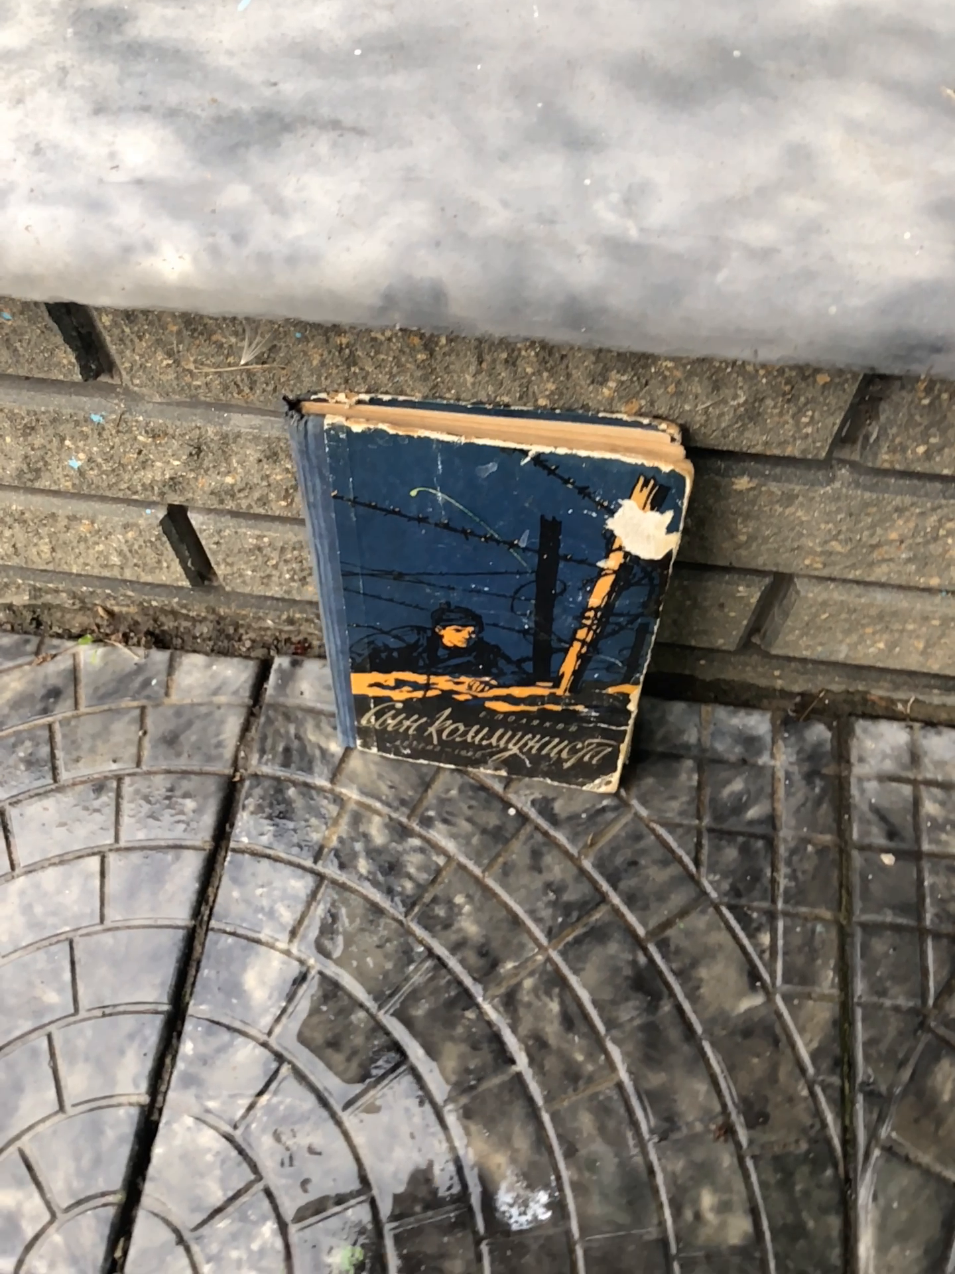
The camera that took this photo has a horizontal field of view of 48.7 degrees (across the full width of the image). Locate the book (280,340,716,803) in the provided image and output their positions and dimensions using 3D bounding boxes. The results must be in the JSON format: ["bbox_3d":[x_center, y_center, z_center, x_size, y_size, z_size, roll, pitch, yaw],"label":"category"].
[{"bbox_3d":[0.006,-0.014,0.426,0.140,0.200,0.040,9,50,6],"label":"book"}]
